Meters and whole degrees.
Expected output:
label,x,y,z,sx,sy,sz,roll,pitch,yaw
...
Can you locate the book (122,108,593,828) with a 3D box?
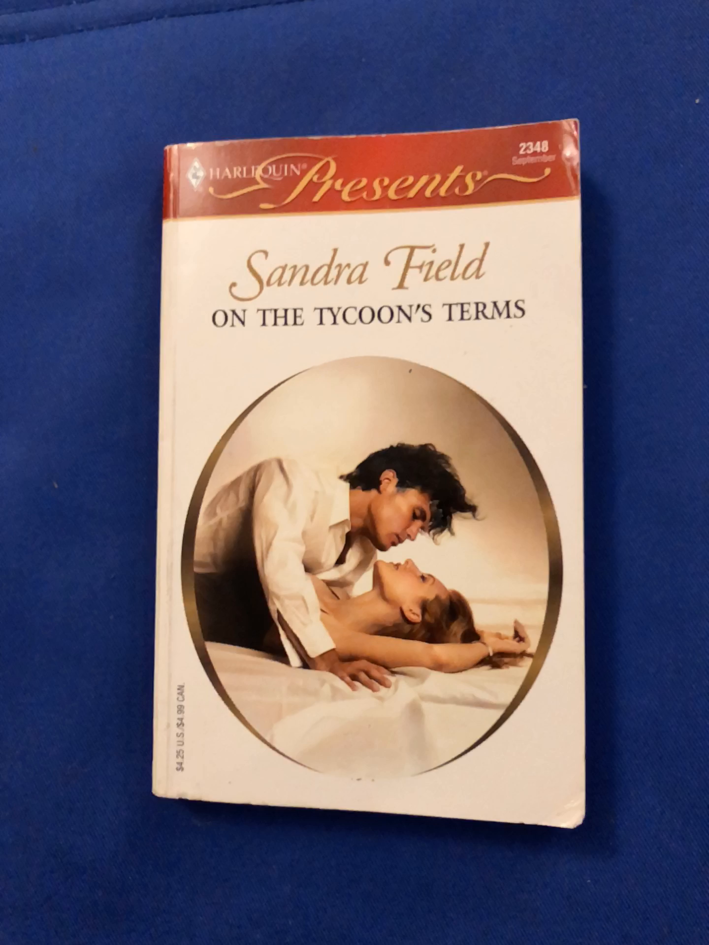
label,x,y,z,sx,sy,sz,roll,pitch,yaw
book,0.000,-0.002,0.192,0.107,0.020,0.157,0,88,9
